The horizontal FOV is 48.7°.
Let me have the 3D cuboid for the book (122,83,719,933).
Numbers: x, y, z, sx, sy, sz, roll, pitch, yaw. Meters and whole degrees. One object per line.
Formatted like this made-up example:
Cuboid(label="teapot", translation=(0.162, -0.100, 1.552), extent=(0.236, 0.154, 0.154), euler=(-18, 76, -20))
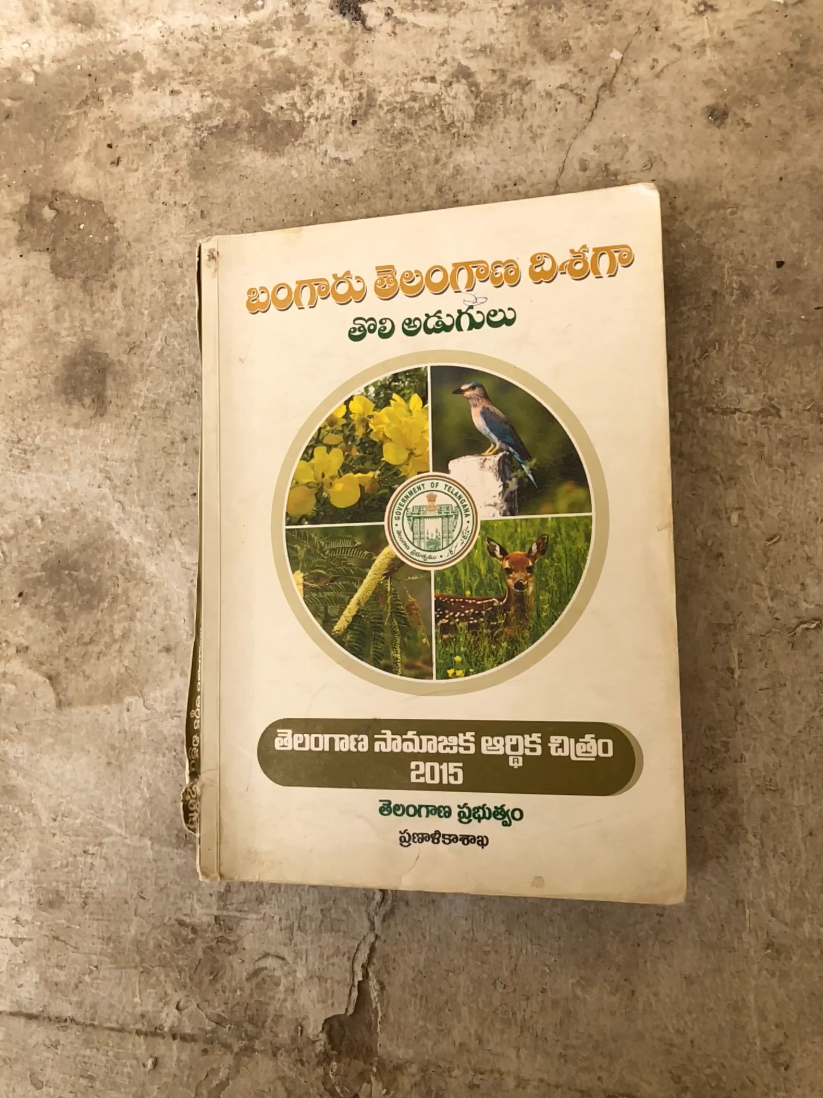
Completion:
Cuboid(label="book", translation=(0.000, -0.014, 0.365), extent=(0.220, 0.060, 0.290), euler=(-2, 86, 14))
